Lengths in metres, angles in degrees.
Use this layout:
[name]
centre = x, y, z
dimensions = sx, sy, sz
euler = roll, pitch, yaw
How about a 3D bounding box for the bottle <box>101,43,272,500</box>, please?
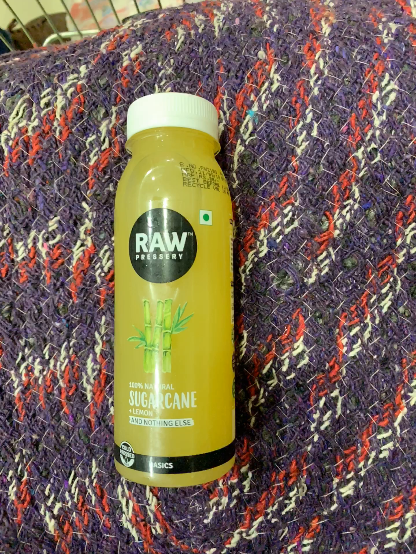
[bottle]
centre = -0.006, -0.002, 0.181
dimensions = 0.060, 0.050, 0.160
euler = -1, 88, 9
